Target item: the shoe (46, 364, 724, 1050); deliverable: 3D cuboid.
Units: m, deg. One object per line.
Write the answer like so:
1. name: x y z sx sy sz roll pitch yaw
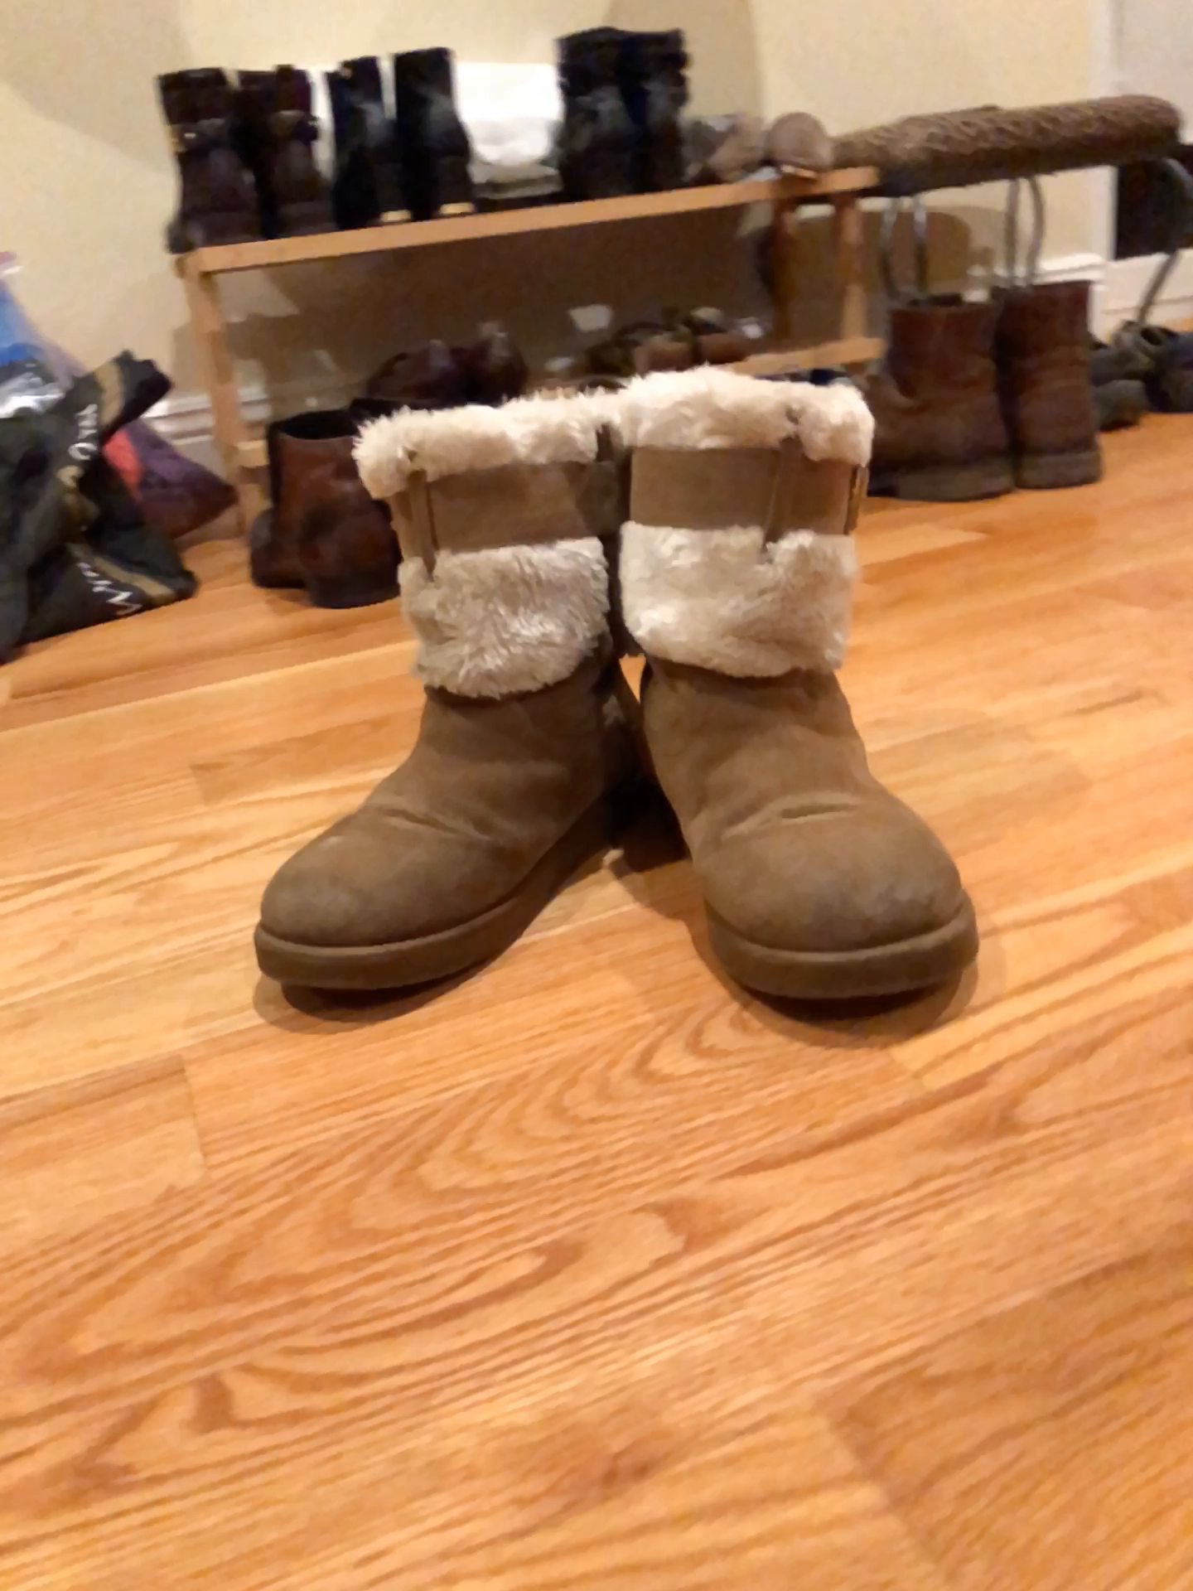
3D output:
1. shoe: -0.059 -0.056 0.538 0.106 0.193 0.255 6 26 31

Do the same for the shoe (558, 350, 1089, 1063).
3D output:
1. shoe: 0.072 -0.059 0.507 0.113 0.193 0.255 -10 22 -6
